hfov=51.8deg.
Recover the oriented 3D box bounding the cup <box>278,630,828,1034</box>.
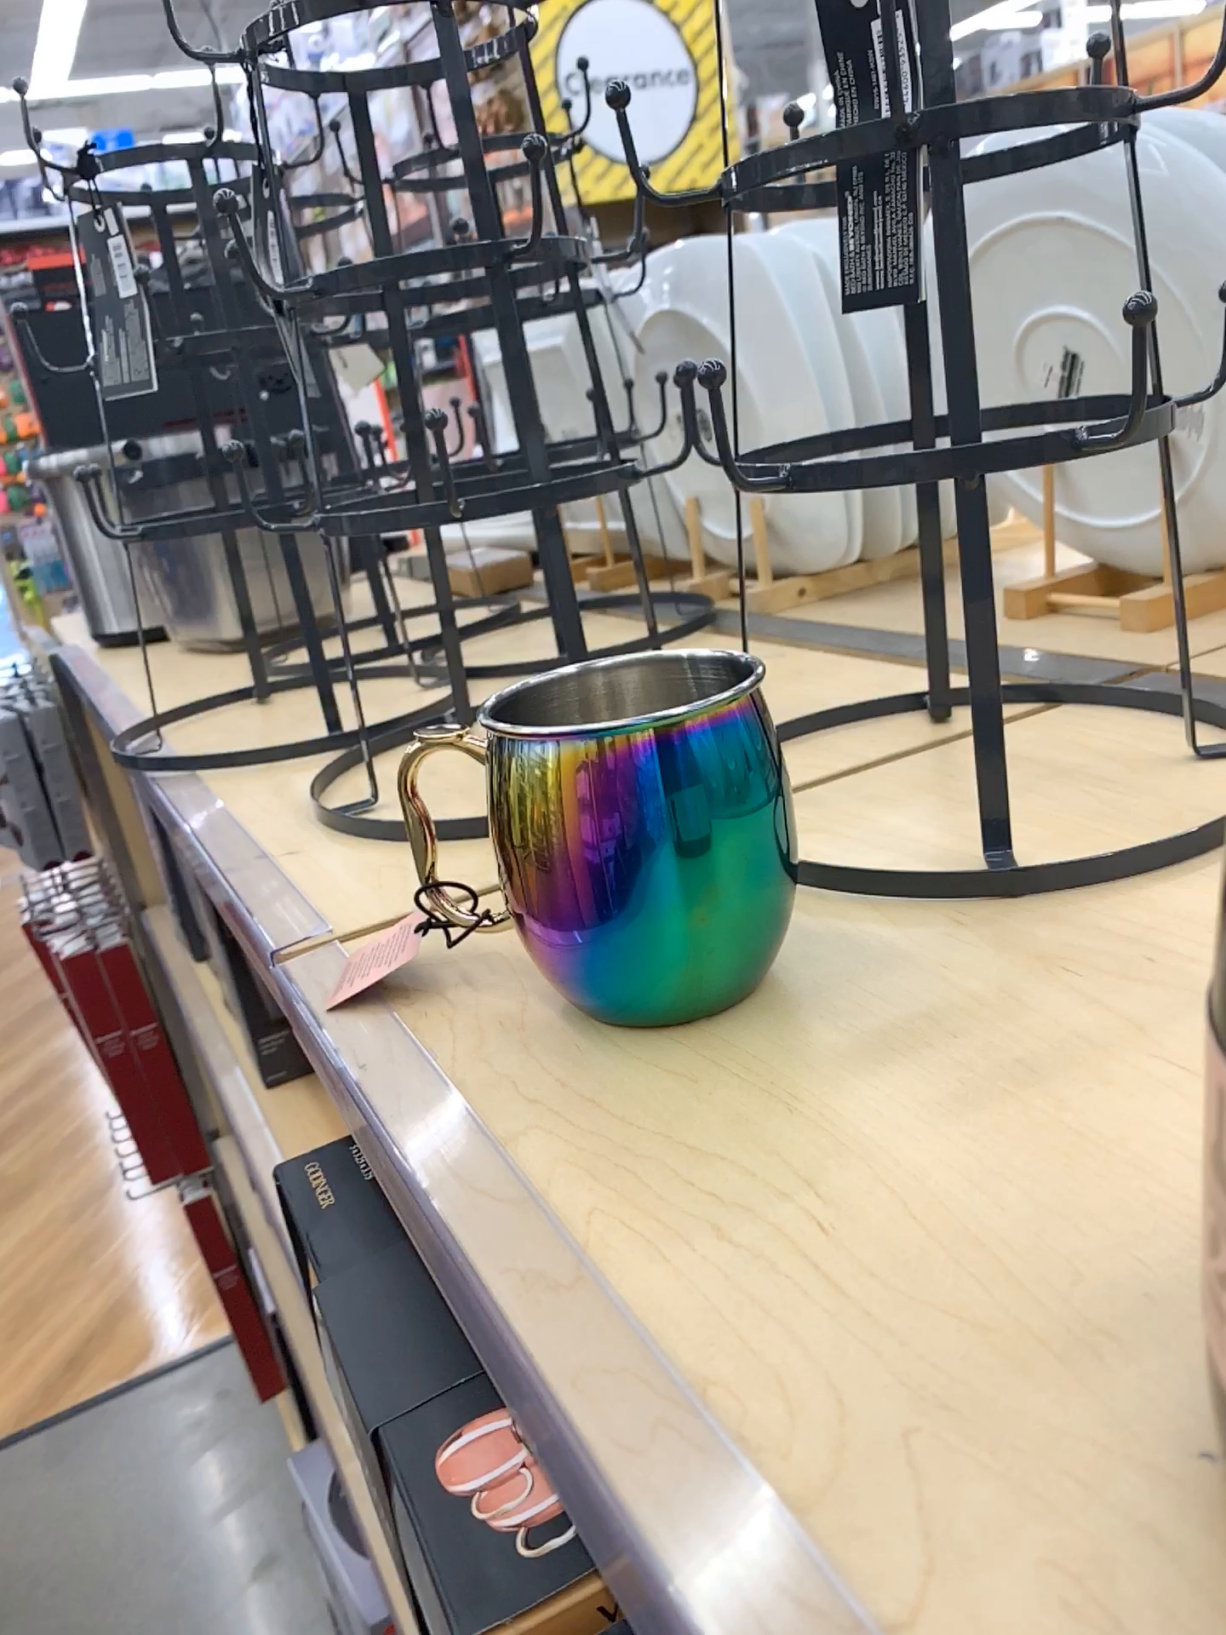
[{"bbox_3d":[-0.014,0.002,0.387,0.130,0.089,0.085,-2,21,25],"label":"cup"}]
